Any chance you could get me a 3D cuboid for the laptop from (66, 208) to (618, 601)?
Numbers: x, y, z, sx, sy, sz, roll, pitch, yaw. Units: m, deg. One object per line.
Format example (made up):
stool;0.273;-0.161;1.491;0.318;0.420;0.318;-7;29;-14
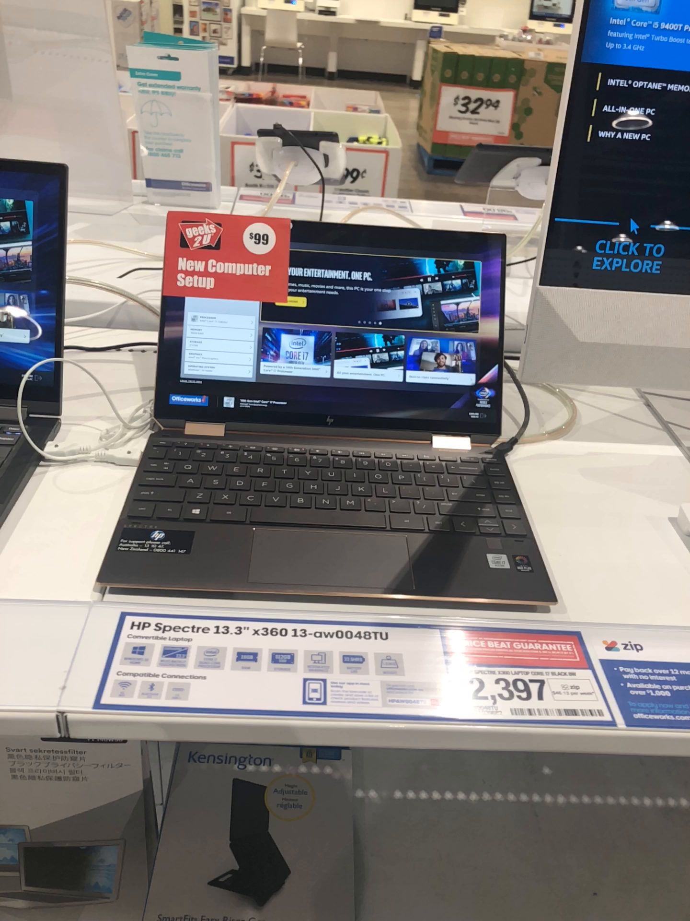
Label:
laptop;-0.007;-0.065;0.582;0.298;0.147;0.316;3;33;-2
